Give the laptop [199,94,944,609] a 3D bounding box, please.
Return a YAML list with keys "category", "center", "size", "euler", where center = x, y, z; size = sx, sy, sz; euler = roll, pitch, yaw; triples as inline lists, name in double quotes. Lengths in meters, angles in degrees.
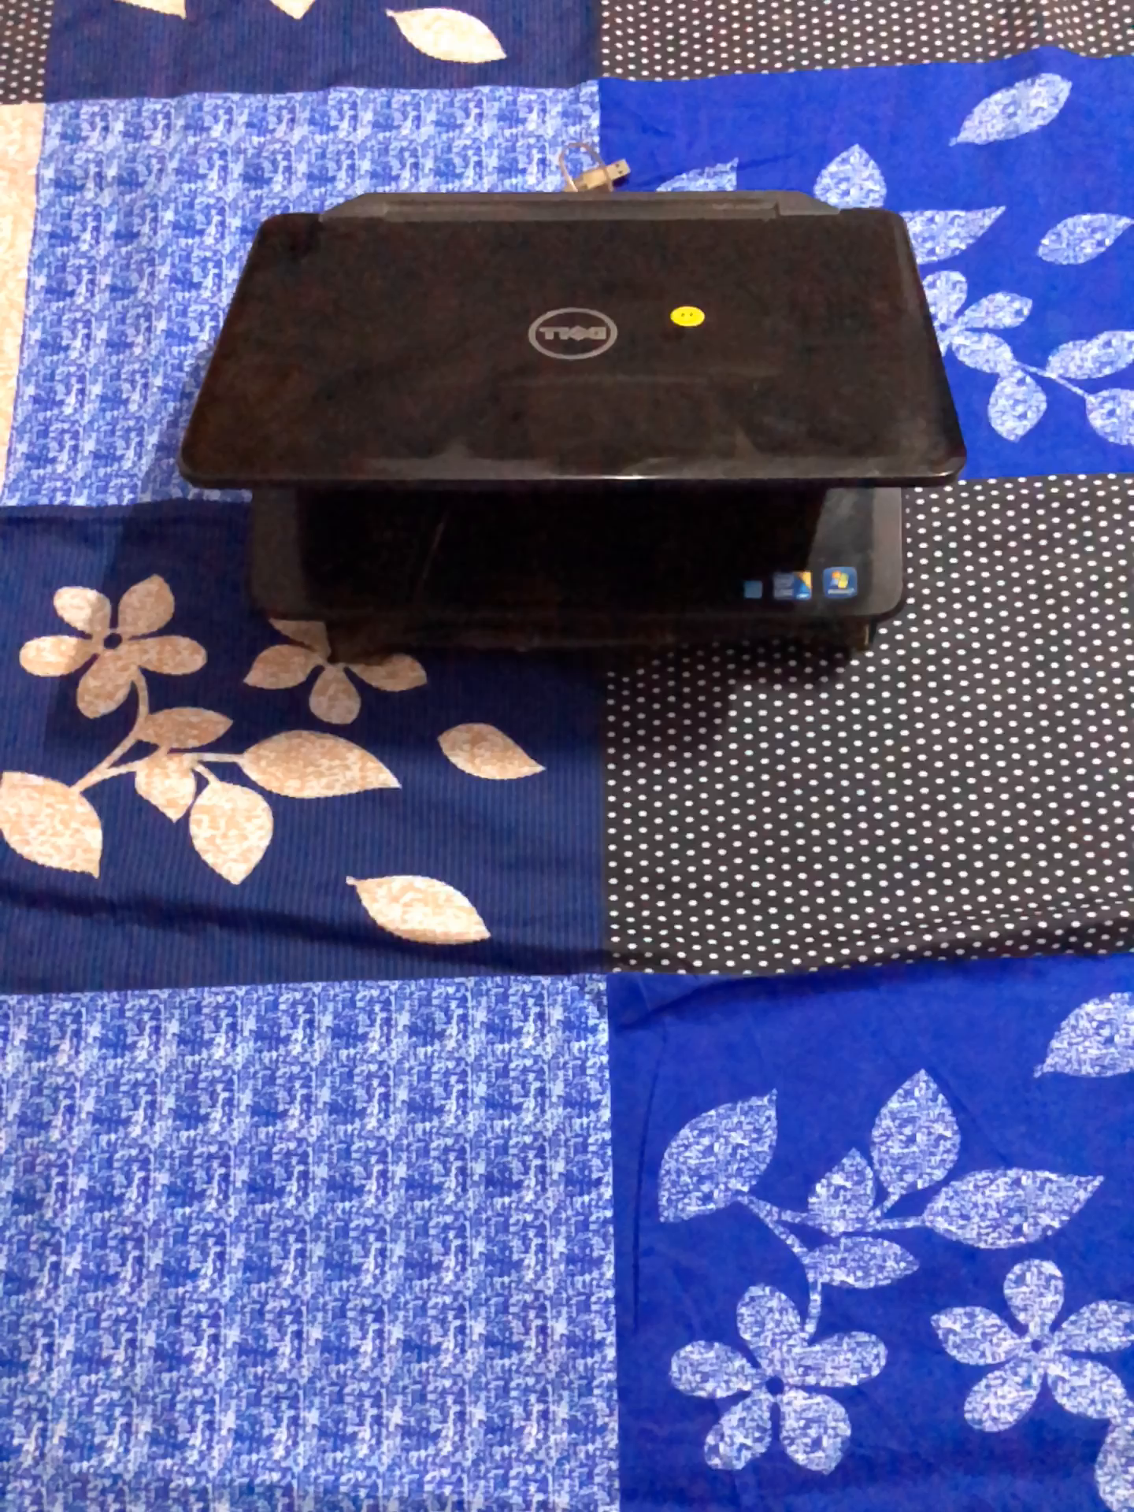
- category: "laptop"
  center: [0.004, -0.211, 0.668]
  size: [0.362, 0.093, 0.236]
  euler: [0, 81, 2]
